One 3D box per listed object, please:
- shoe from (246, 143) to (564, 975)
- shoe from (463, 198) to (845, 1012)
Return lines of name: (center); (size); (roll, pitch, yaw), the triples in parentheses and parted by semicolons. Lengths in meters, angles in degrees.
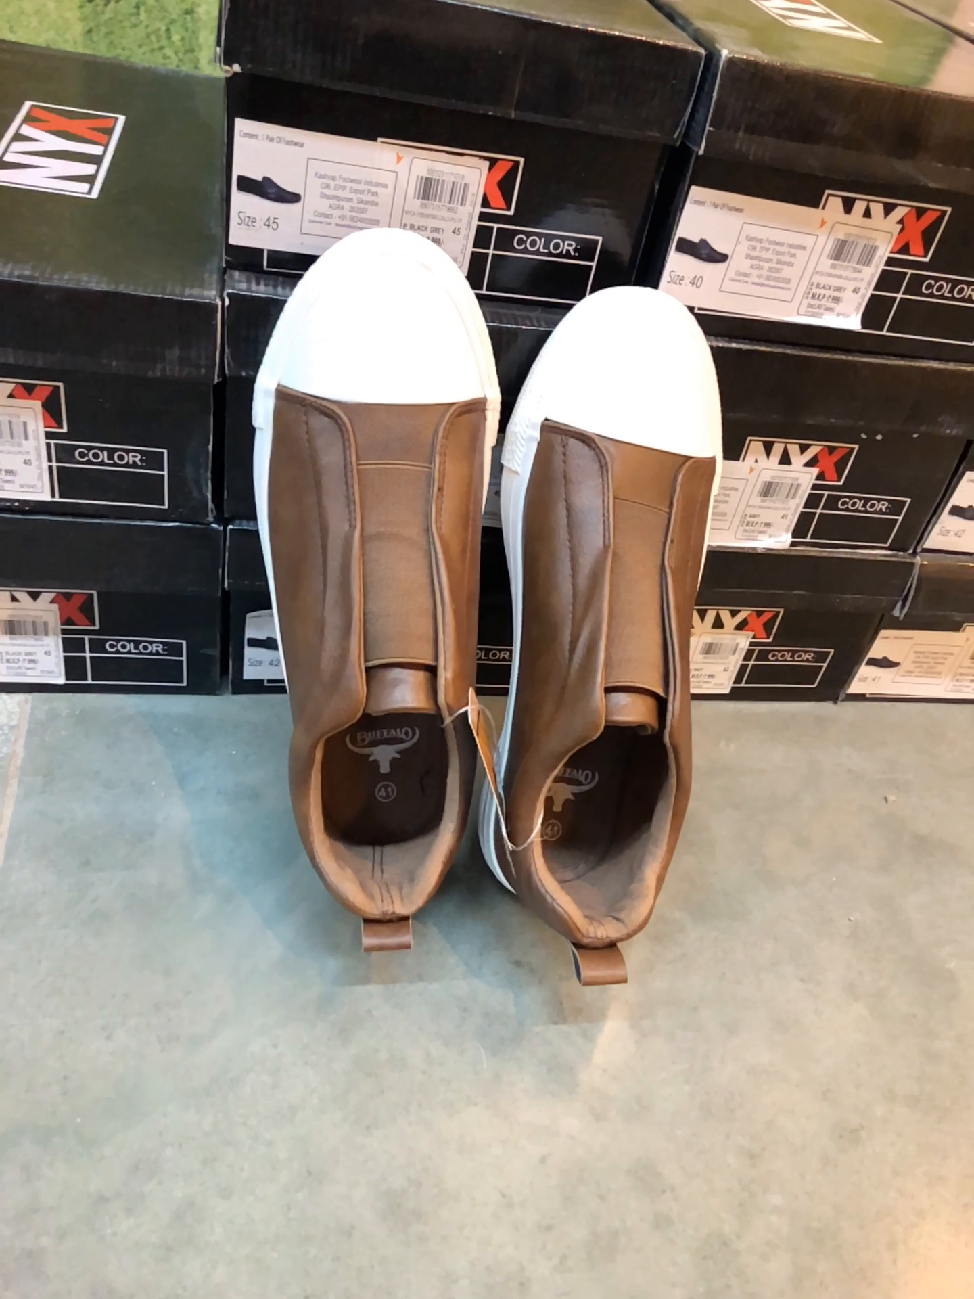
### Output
shoe: (-0.039, -0.030, 0.411); (0.098, 0.269, 0.103); (0, 5, -15)
shoe: (0.057, -0.014, 0.418); (0.097, 0.272, 0.100); (3, 4, -13)
